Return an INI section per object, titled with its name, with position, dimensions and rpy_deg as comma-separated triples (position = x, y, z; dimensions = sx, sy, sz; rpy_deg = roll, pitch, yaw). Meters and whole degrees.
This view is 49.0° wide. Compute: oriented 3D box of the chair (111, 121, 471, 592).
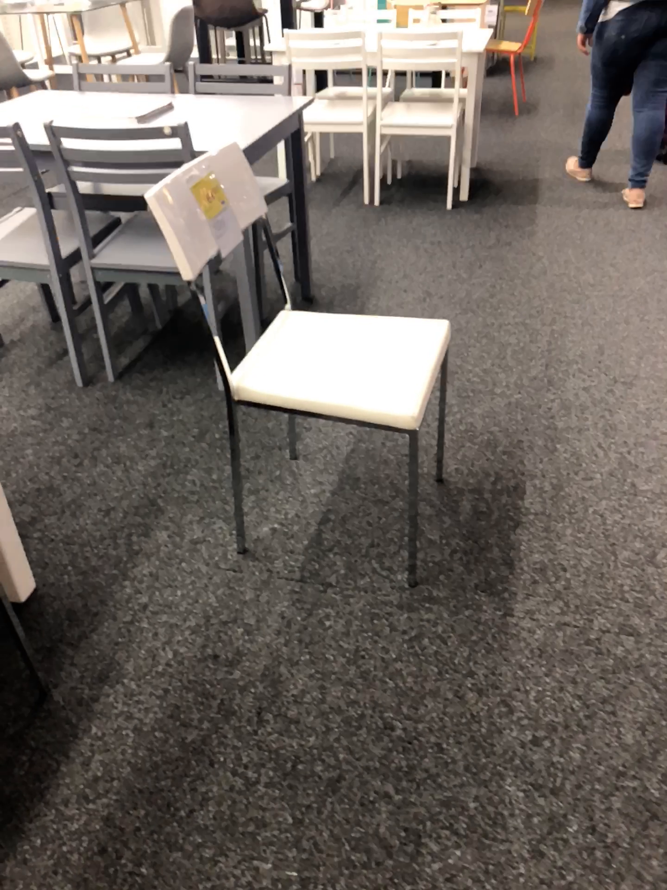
[chair]
position = -0.031, -0.197, 1.568
dimensions = 0.540, 0.815, 0.504
rpy_deg = 6, 35, 12
